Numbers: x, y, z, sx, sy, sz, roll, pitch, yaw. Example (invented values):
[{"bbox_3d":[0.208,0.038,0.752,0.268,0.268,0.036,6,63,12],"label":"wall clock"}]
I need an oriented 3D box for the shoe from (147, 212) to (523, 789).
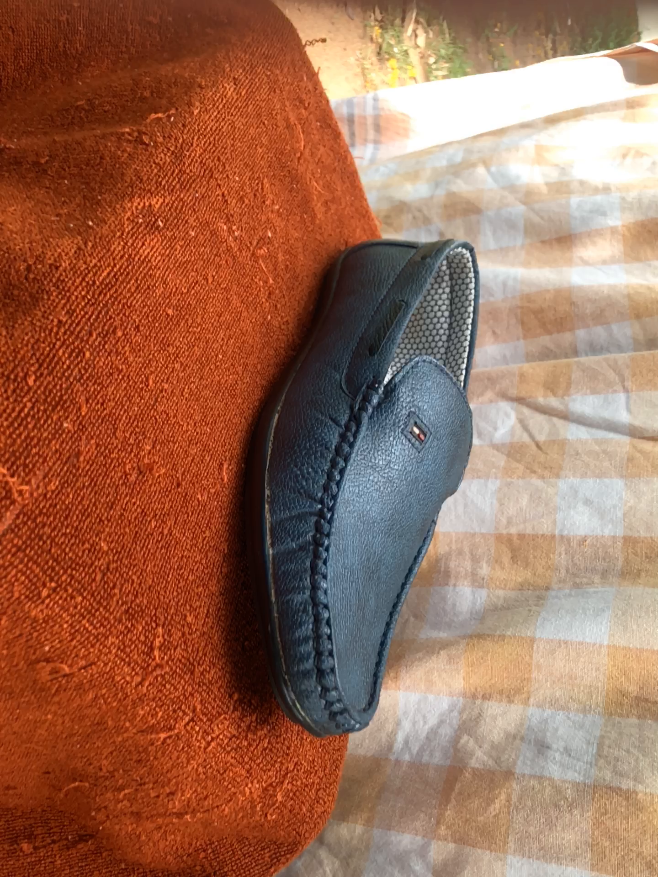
[{"bbox_3d":[0.028,0.011,0.355,0.100,0.089,0.261,62,34,-38],"label":"shoe"}]
